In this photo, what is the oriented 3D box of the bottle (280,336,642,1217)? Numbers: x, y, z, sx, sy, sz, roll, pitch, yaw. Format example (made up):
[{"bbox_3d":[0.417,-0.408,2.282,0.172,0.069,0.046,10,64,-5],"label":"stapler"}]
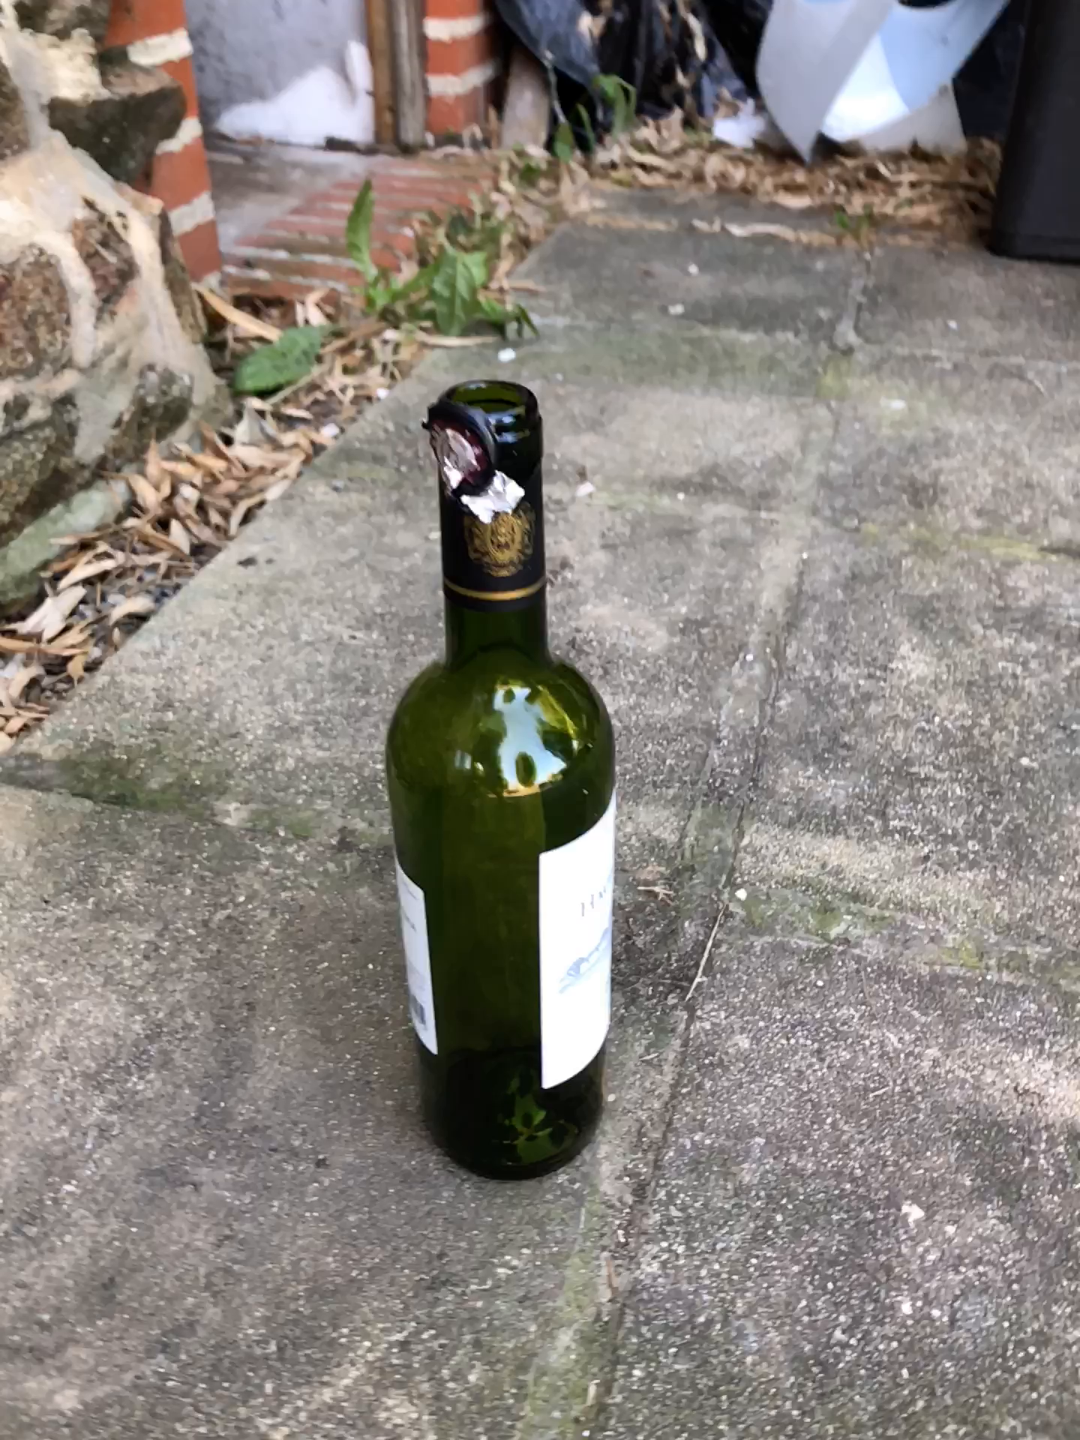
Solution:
[{"bbox_3d":[-0.017,0.036,0.383,0.080,0.288,0.091,1,36,1],"label":"bottle"}]
